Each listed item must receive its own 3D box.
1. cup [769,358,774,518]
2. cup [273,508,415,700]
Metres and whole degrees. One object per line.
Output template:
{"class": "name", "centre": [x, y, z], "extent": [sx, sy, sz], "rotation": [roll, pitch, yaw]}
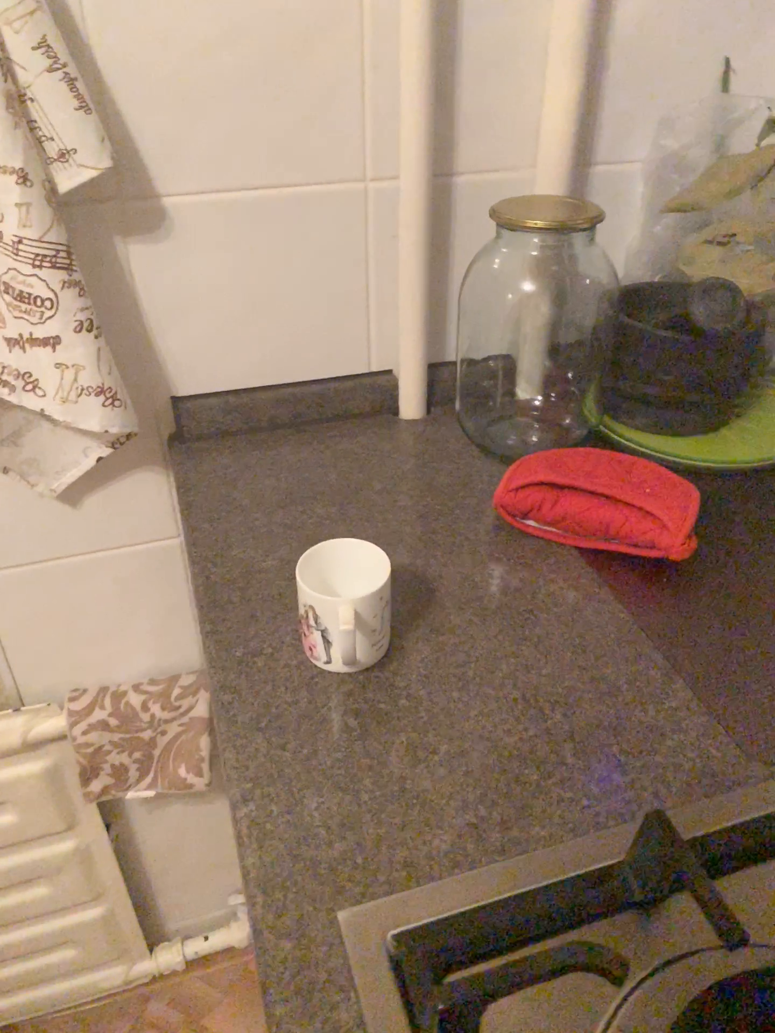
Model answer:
{"class": "cup", "centre": [0.368, -0.064, 0.632], "extent": [0.054, 0.091, 0.080], "rotation": [-20, 39, -27]}
{"class": "cup", "centre": [-0.028, 0.049, 0.474], "extent": [0.064, 0.061, 0.090], "rotation": [-9, 35, -12]}
